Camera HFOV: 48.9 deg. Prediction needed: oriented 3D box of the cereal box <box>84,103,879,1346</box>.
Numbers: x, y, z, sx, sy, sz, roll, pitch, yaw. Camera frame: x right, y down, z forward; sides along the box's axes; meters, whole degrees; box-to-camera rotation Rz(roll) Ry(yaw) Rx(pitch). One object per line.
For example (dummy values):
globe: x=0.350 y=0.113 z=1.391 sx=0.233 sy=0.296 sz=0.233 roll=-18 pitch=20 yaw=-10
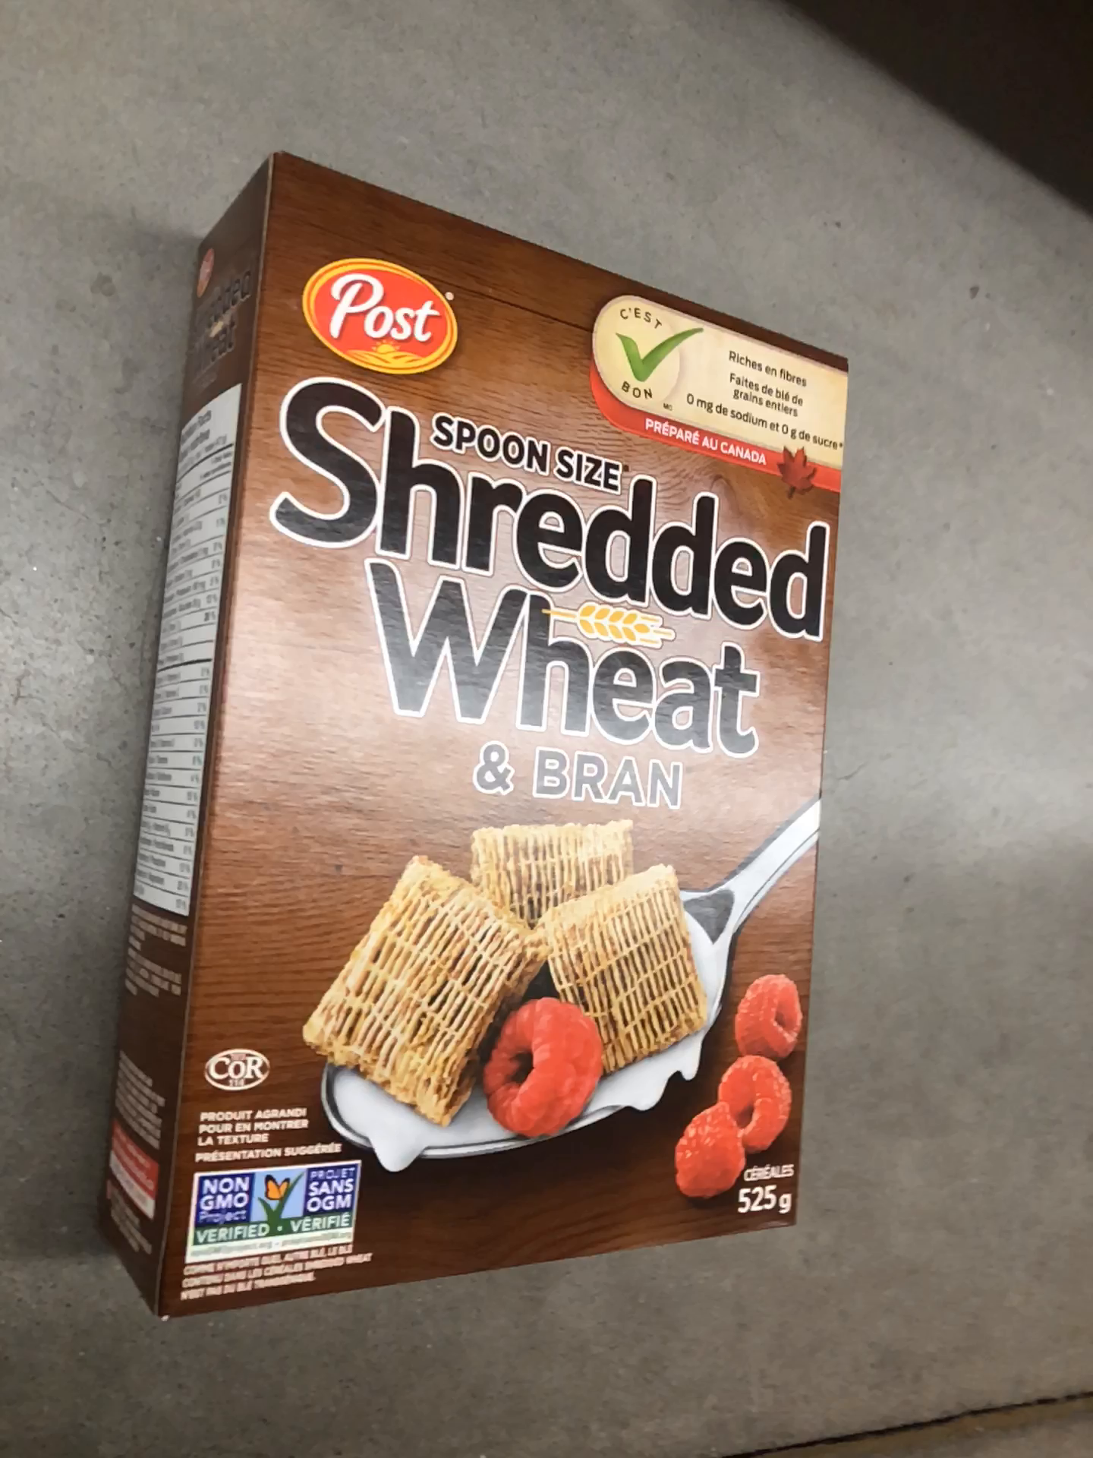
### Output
cereal box: x=-0.009 y=0.005 z=0.351 sx=0.200 sy=0.070 sz=0.280 roll=7 pitch=86 yaw=-31
